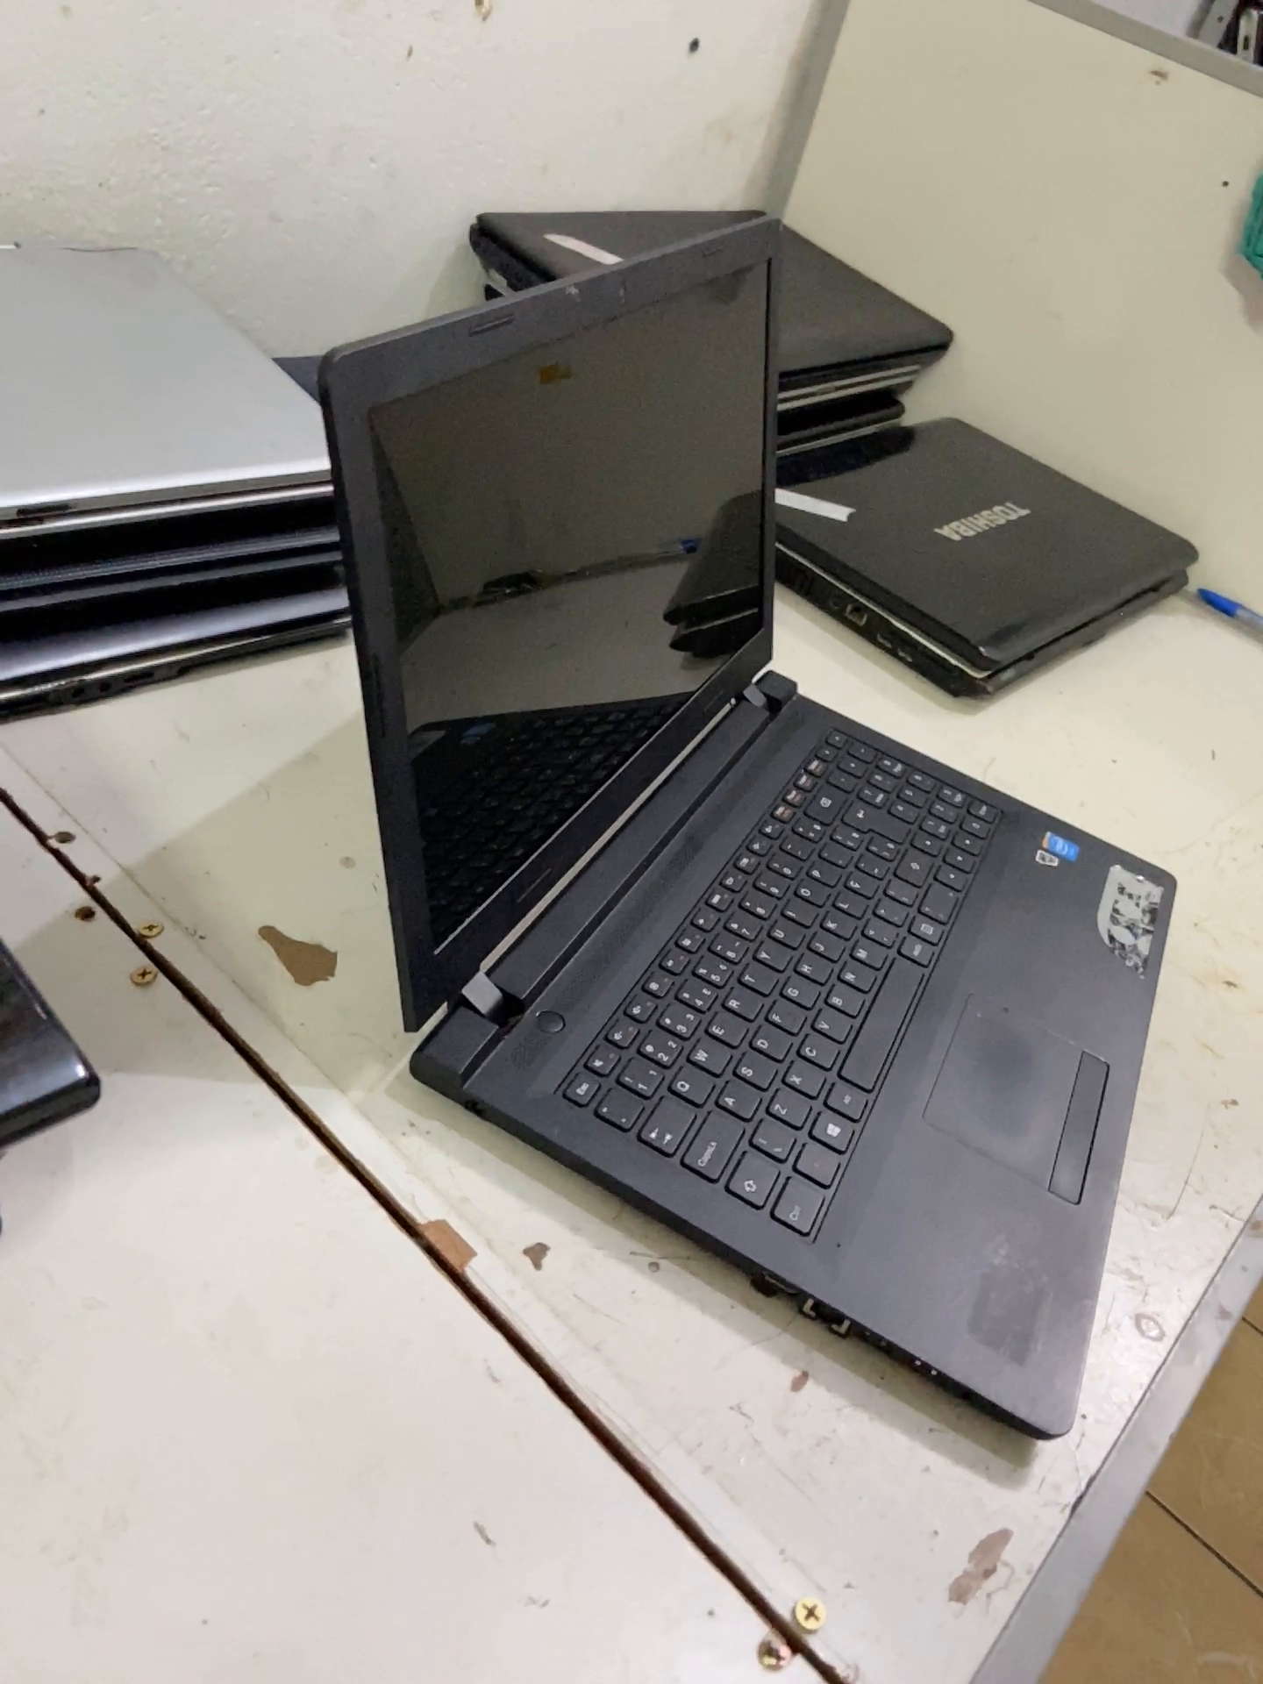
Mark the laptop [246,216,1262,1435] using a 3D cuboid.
[{"bbox_3d":[0.104,-0.059,0.543,0.337,0.230,0.378,28,38,11],"label":"laptop"}]
